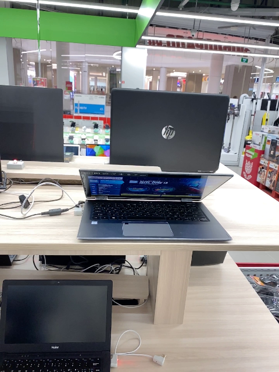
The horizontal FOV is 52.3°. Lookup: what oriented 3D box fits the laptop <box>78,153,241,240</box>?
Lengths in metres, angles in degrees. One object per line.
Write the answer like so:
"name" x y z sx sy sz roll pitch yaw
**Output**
"laptop" 0.030 0.014 0.673 0.320 0.128 0.218 2 18 -6
